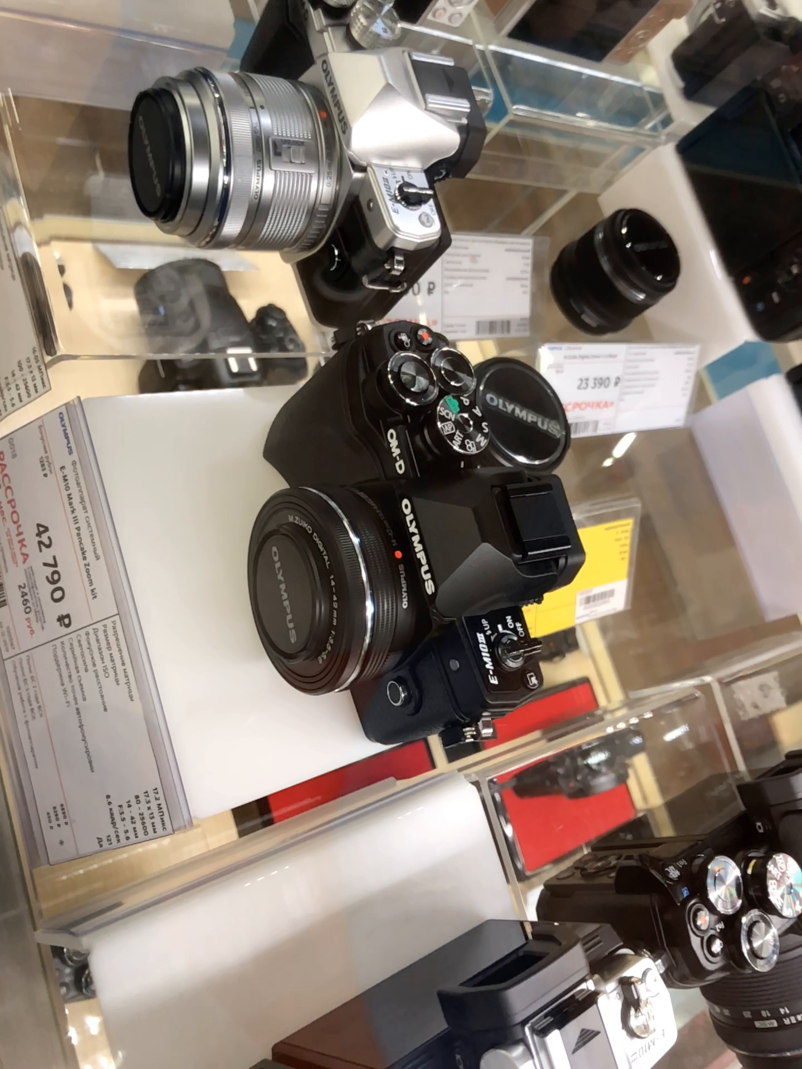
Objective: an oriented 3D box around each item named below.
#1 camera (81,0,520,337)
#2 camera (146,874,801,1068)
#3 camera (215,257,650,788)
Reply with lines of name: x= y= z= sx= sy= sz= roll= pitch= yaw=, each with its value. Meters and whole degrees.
camera: x=-0.037 y=-0.138 z=0.294 sx=0.094 sy=0.080 sz=0.112 roll=-6 pitch=74 yaw=-37
camera: x=0.022 y=0.155 z=0.216 sx=0.124 sy=0.074 sz=0.094 roll=-11 pitch=77 yaw=-38
camera: x=0.003 y=-0.001 z=0.270 sx=0.064 sy=0.082 sz=0.129 roll=-6 pitch=74 yaw=-37
